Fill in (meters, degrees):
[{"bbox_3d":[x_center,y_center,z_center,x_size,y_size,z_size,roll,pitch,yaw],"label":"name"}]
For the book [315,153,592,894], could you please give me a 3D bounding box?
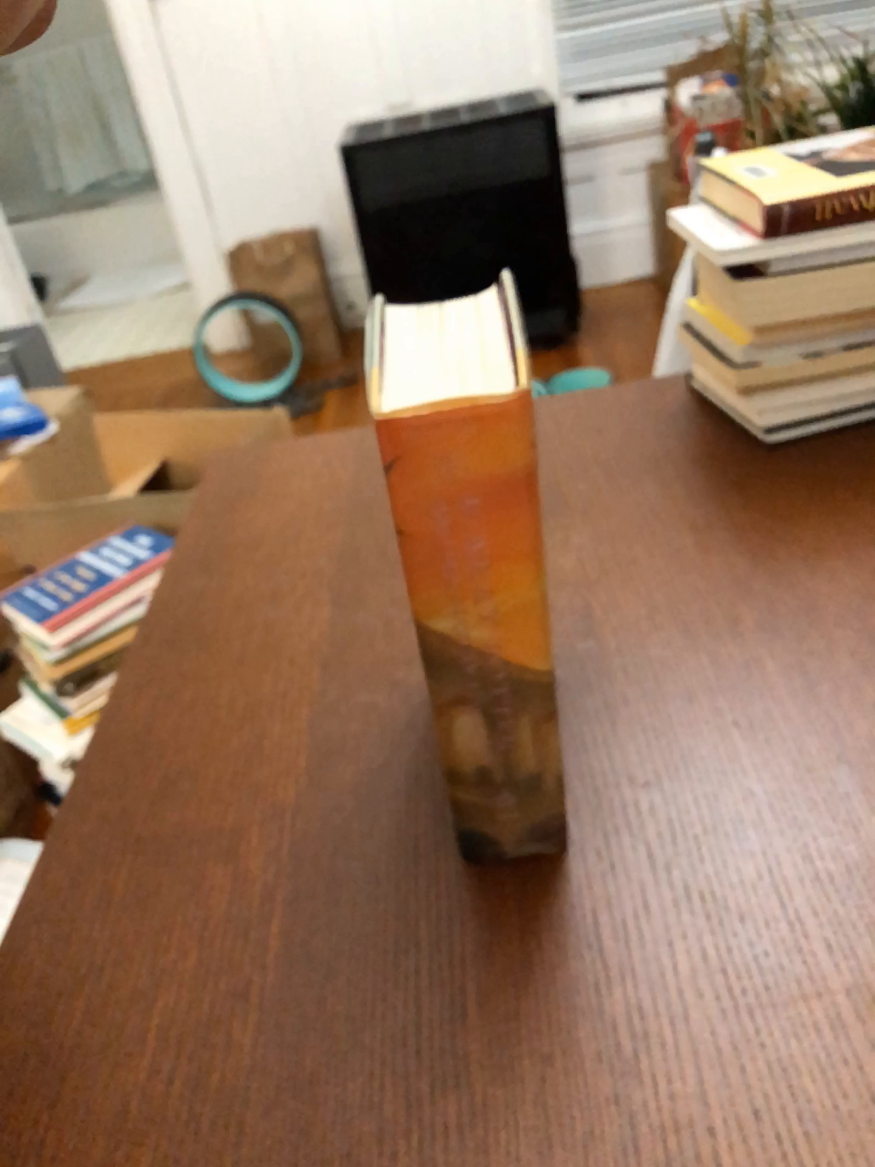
[{"bbox_3d":[0.019,-0.033,0.492,0.070,0.298,0.211,-7,31,6],"label":"book"}]
